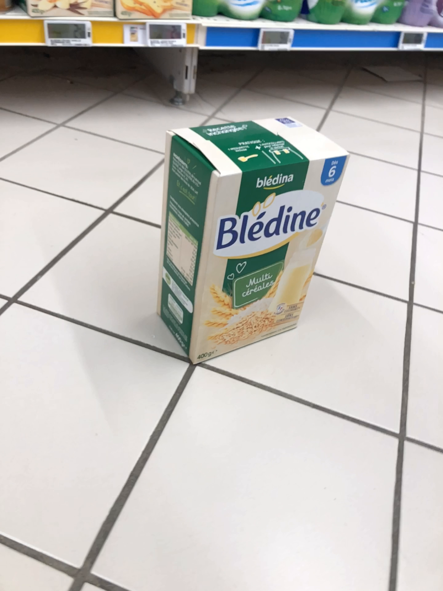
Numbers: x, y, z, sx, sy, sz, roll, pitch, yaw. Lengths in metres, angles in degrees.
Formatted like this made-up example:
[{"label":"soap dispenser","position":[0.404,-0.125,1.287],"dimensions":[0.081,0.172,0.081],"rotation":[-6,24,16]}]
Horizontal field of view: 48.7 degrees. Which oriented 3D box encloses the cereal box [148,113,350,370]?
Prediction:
[{"label":"cereal box","position":[0.013,-0.049,0.456],"dimensions":[0.131,0.199,0.090],"rotation":[-17,46,-28]}]
